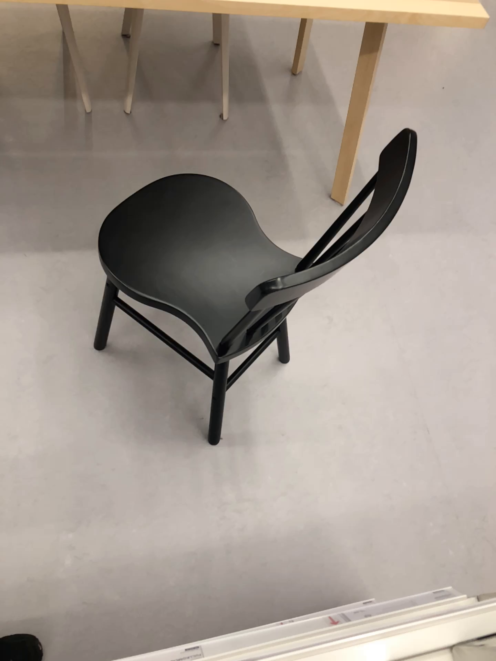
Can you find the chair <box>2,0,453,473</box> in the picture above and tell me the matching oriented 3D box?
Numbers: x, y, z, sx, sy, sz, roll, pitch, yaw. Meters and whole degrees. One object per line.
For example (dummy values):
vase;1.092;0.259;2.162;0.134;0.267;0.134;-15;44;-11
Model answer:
chair;-0.067;-0.146;1.143;0.521;0.717;0.481;39;61;11
